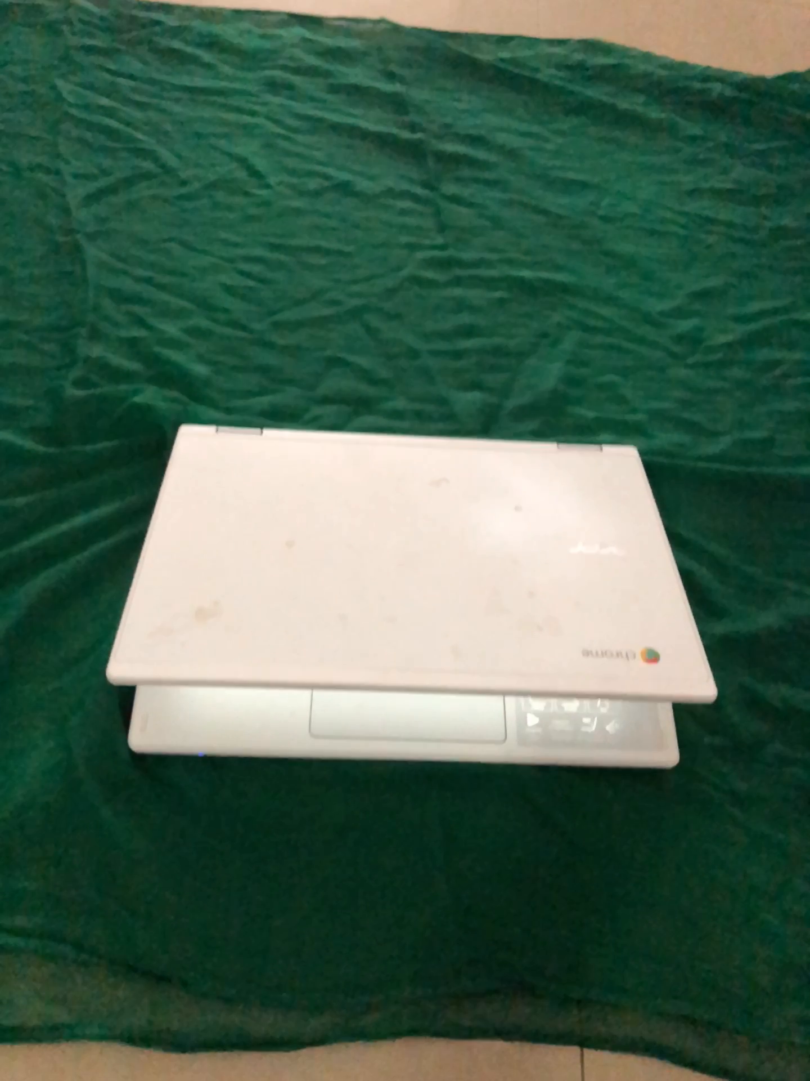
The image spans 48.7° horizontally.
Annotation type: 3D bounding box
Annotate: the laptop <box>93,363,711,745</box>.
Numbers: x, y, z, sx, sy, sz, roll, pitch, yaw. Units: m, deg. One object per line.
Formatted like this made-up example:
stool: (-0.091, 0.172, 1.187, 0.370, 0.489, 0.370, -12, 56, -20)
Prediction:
laptop: (0.002, 0.003, 0.485, 0.281, 0.065, 0.194, 2, 59, -1)
